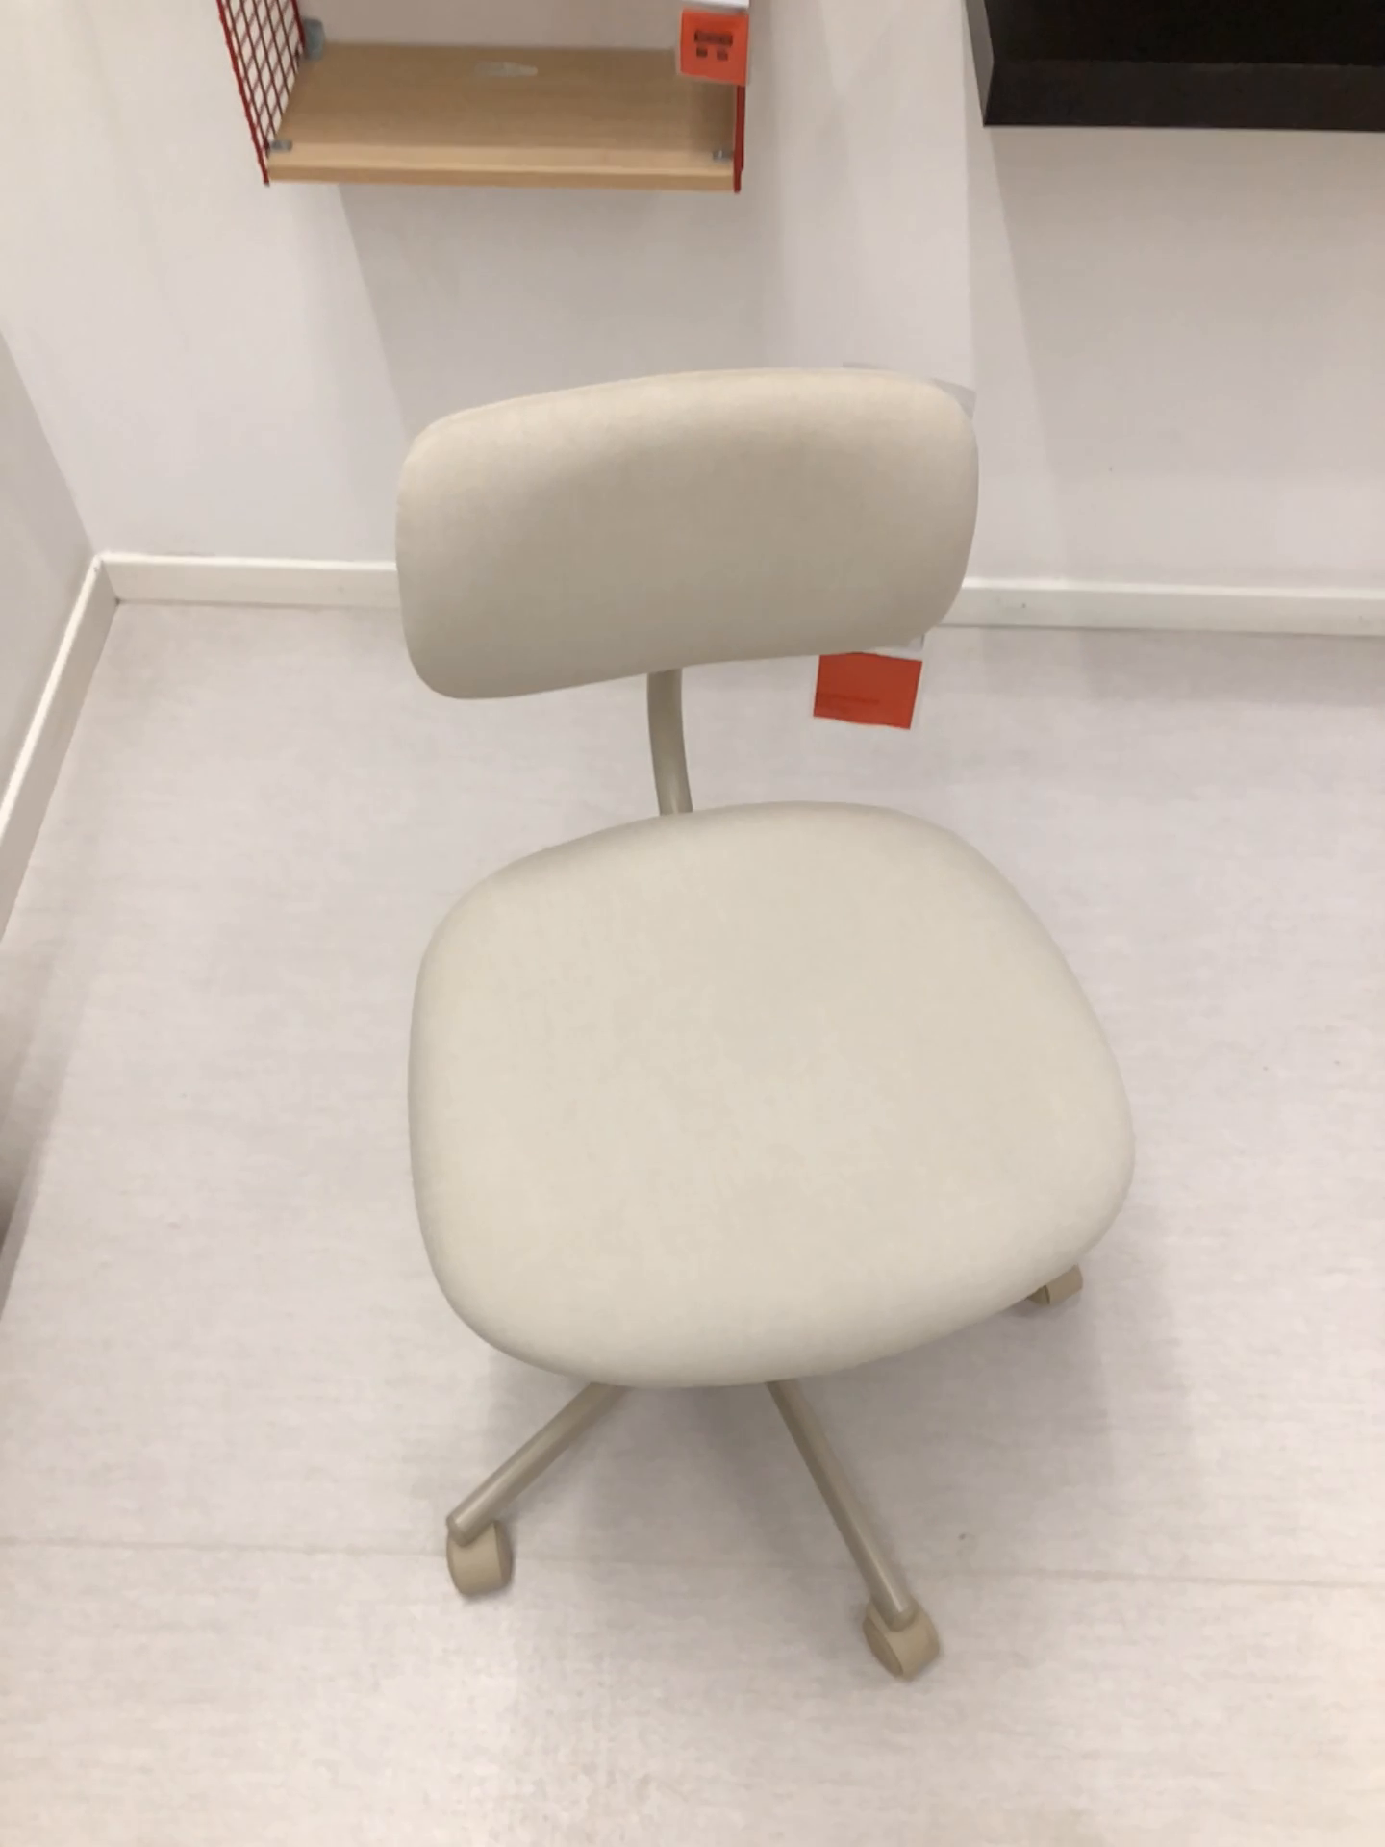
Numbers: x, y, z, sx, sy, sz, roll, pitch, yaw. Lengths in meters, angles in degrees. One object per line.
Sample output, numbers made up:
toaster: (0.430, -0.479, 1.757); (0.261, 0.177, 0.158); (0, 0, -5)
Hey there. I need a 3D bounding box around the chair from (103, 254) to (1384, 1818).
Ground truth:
chair: (0.046, 0.123, 1.055); (0.640, 0.766, 0.694); (-9, 56, -7)
